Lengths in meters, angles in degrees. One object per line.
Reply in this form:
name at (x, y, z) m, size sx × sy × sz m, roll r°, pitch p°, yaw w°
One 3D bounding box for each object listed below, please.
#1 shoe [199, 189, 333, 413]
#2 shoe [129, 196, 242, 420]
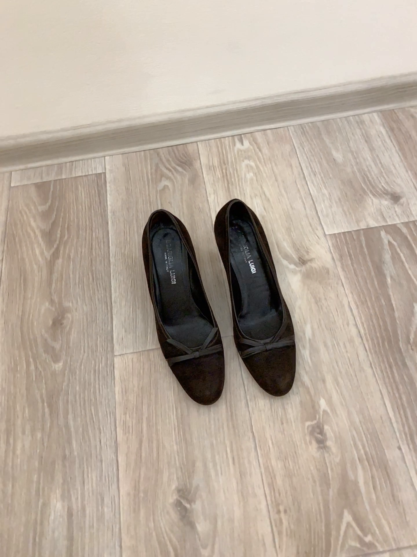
shoe at (0.062, 0.025, 0.559) m, size 0.080 × 0.110 × 0.261 m, roll -15°, pitch 61°, yaw -4°
shoe at (-0.033, 0.034, 0.560) m, size 0.080 × 0.110 × 0.261 m, roll -14°, pitch 61°, yaw -4°
